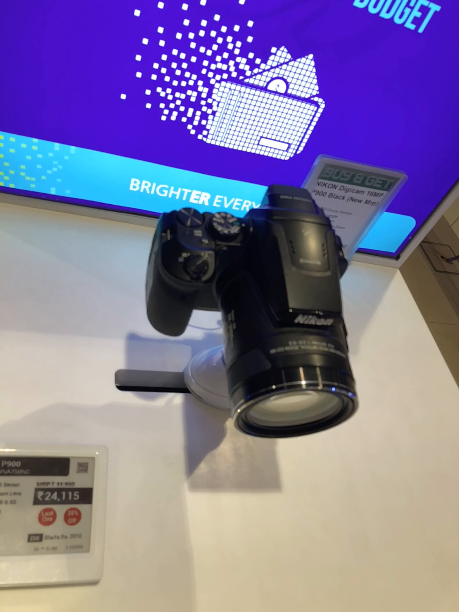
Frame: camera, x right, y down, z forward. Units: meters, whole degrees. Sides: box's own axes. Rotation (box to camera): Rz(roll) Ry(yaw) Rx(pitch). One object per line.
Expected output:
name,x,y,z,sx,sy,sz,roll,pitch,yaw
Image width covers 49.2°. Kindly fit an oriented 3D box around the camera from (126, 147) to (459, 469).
camera,0.023,0.005,0.292,0.140,0.099,0.141,6,48,-22
